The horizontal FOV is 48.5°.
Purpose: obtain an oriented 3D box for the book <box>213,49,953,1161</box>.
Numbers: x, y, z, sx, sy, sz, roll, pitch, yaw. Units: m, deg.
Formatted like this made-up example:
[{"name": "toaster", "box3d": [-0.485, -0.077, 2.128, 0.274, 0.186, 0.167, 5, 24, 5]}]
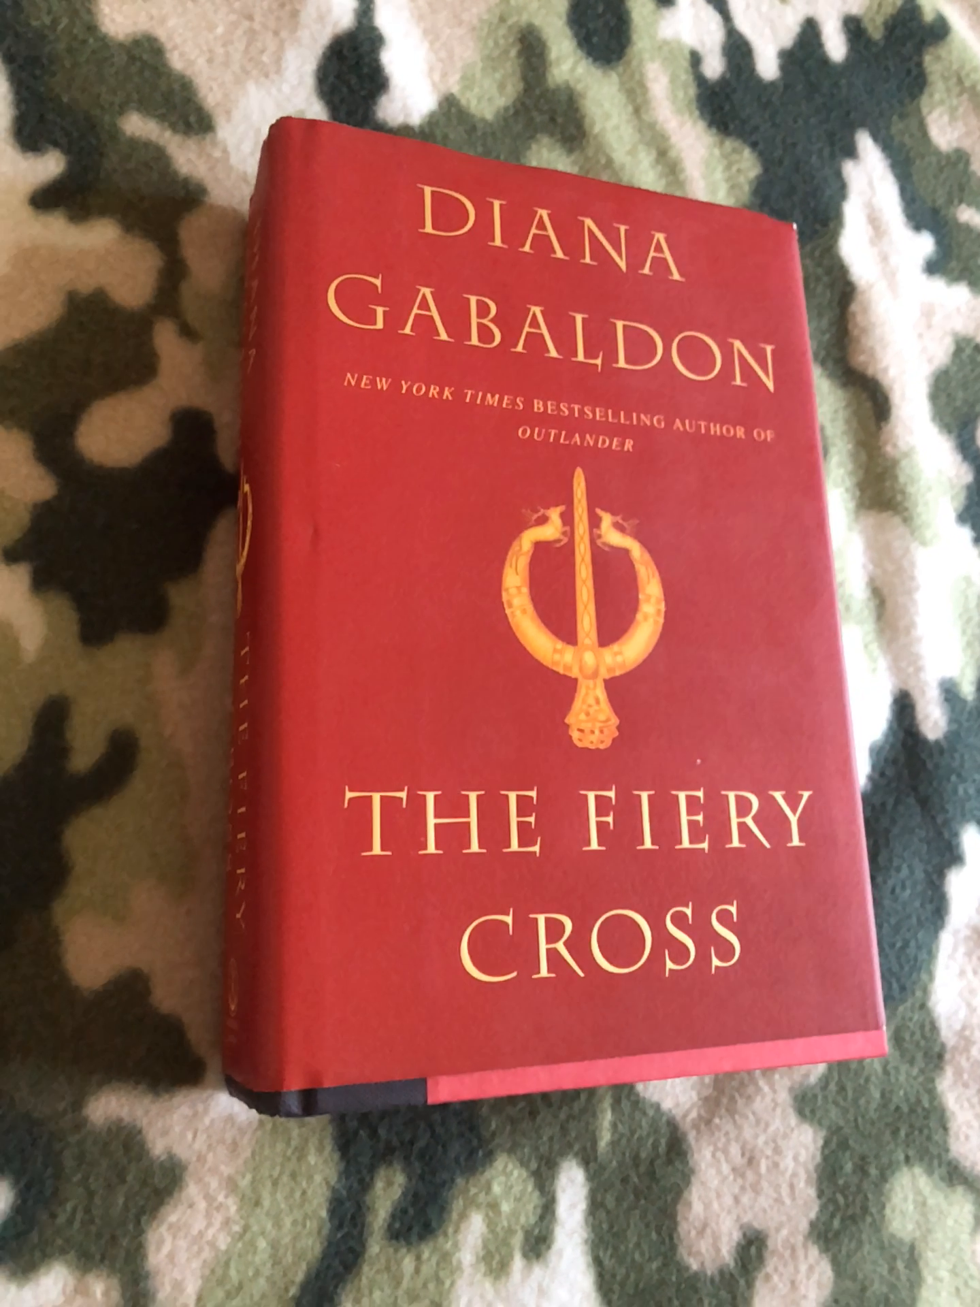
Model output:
[{"name": "book", "box3d": [0.018, -0.013, 0.299, 0.170, 0.070, 0.250, 3, 75, -22]}]
